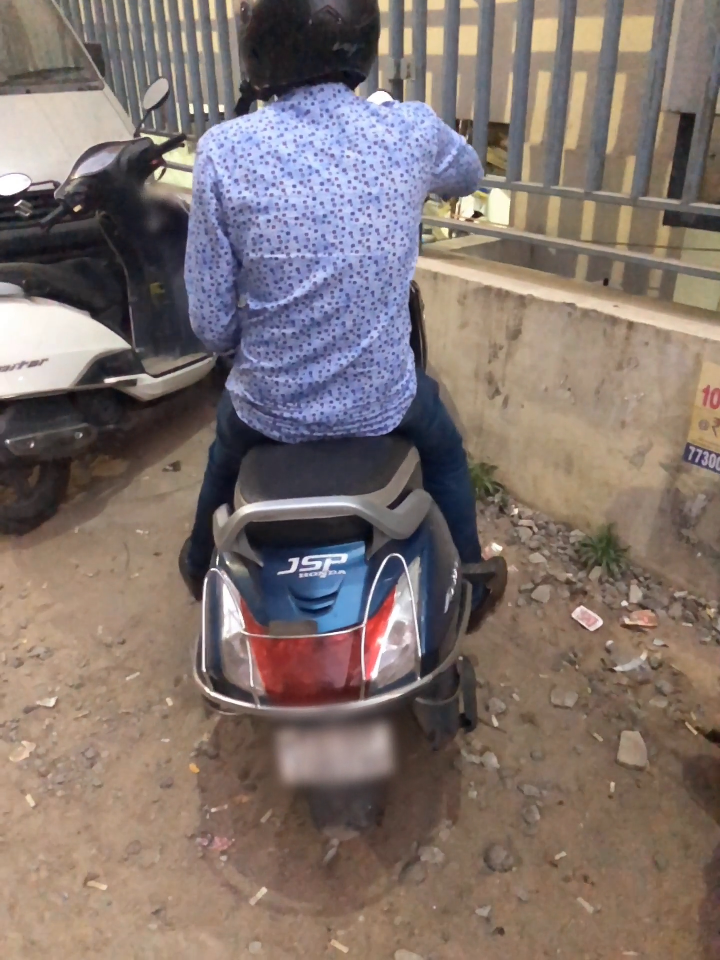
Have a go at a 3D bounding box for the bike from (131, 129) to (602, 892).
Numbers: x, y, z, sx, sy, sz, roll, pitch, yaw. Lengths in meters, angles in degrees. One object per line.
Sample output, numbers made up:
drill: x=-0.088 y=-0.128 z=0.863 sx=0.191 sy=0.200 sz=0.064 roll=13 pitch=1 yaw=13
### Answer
bike: x=-0.091 y=-0.103 z=1.906 sx=0.616 sy=1.130 sz=1.477 roll=-4 pitch=31 yaw=-6
